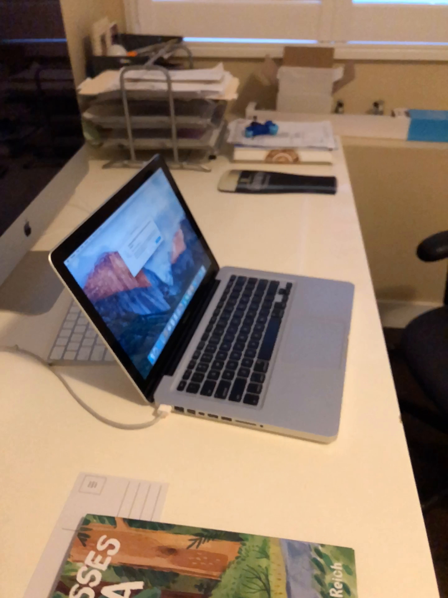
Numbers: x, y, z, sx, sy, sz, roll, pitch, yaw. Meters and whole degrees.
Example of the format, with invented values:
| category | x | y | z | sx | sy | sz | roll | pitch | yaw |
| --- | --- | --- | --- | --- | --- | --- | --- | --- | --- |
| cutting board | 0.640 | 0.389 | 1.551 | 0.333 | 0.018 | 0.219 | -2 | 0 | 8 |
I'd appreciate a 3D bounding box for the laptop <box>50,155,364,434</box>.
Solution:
| category | x | y | z | sx | sy | sz | roll | pitch | yaw |
| --- | --- | --- | --- | --- | --- | --- | --- | --- | --- |
| laptop | 0.005 | -0.034 | 0.666 | 0.312 | 0.187 | 0.304 | 9 | 37 | 13 |
